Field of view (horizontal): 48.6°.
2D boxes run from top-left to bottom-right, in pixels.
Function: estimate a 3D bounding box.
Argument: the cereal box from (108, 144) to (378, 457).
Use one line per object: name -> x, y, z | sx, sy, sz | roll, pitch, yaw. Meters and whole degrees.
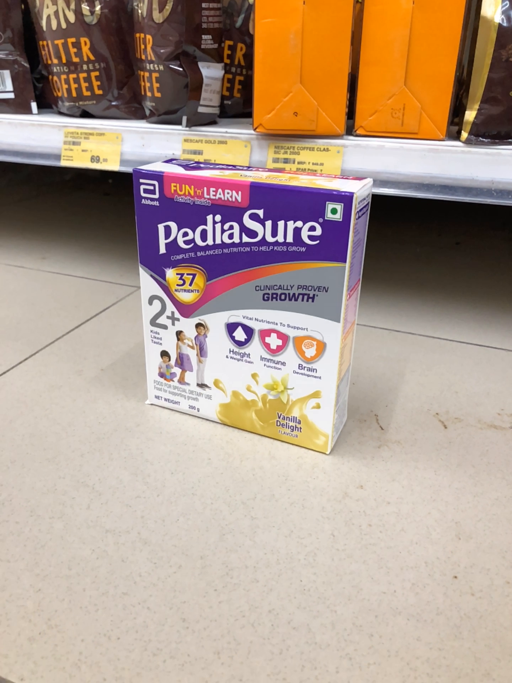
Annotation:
cereal box -> -0.010, -0.028, 0.344 | 0.140, 0.159, 0.050 | 12, 27, 21
